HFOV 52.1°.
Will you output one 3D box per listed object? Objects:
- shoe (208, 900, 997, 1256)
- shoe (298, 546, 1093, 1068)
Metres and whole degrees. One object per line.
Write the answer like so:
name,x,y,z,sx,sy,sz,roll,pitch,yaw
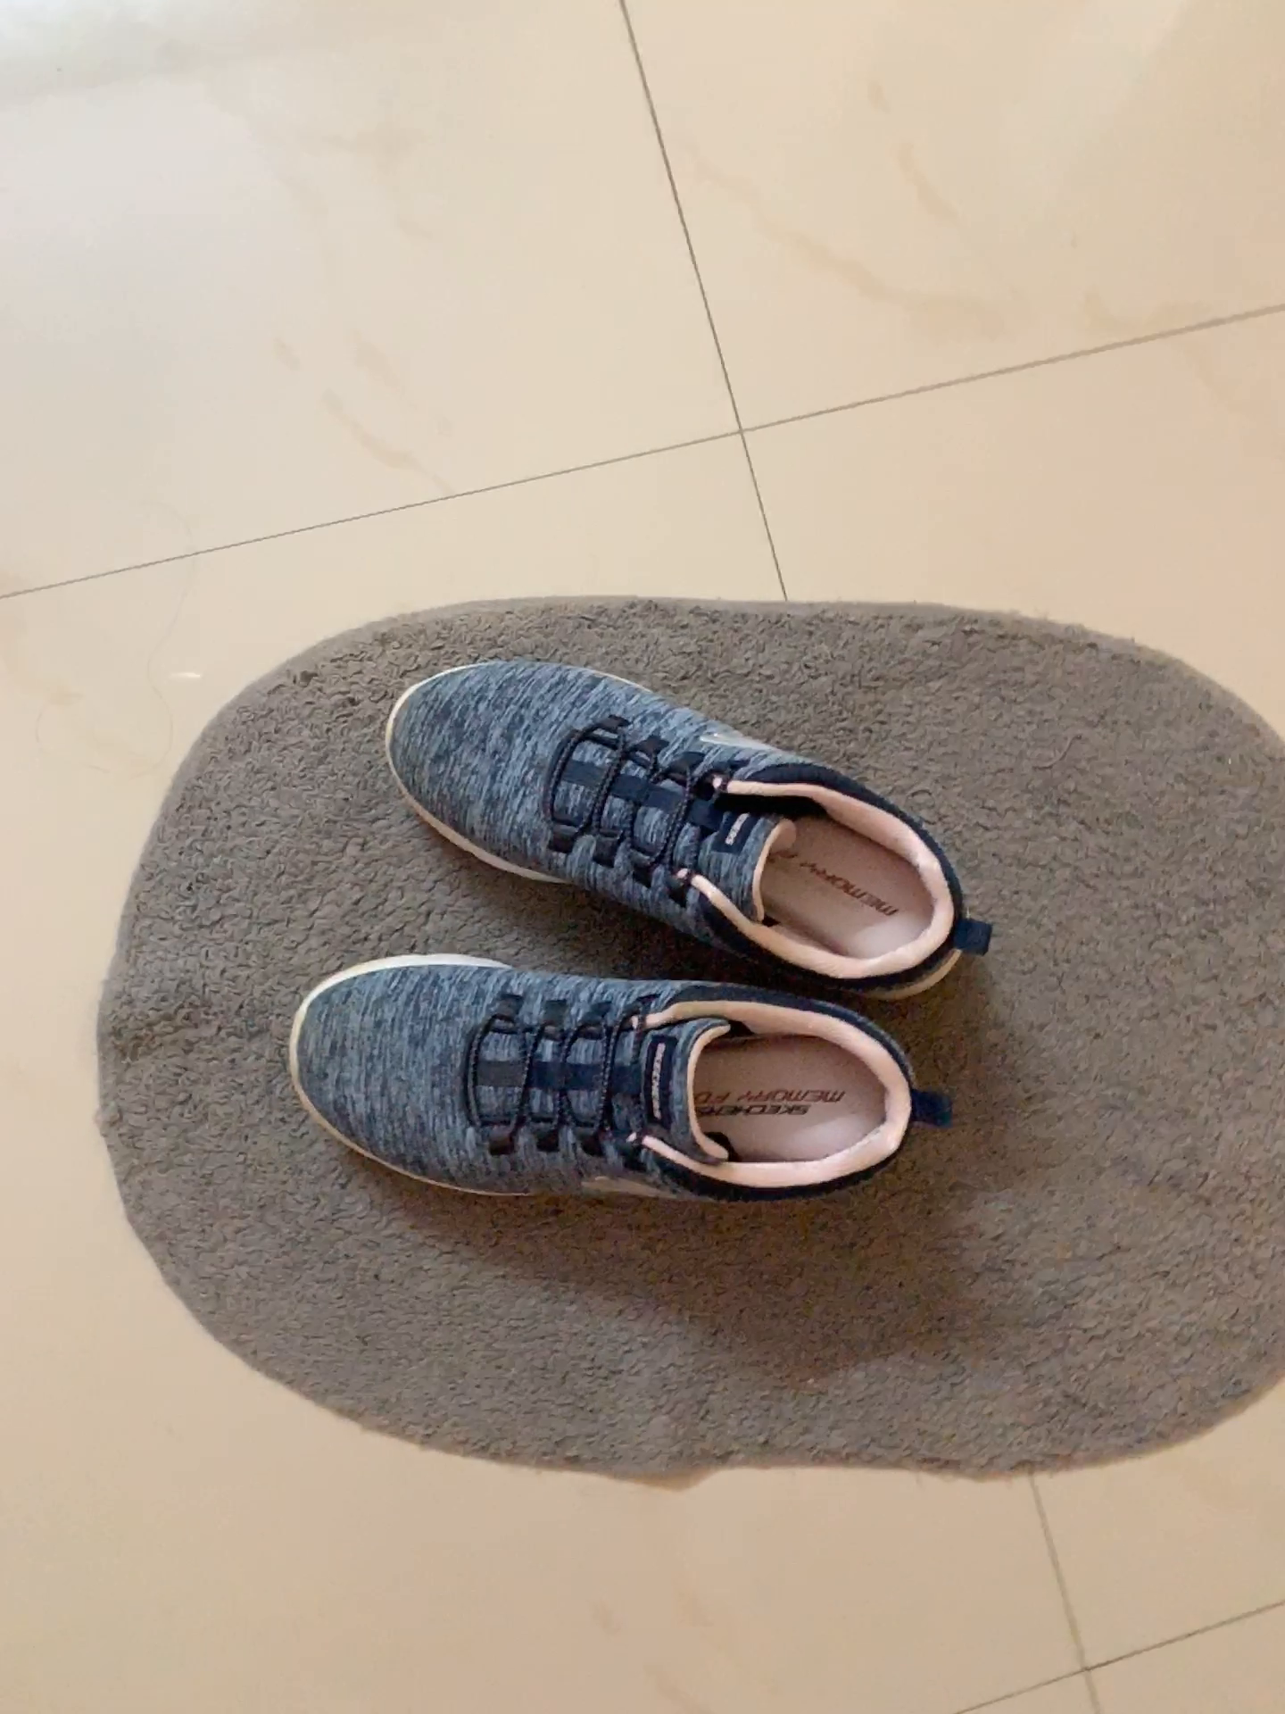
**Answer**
shoe,-0.014,0.092,0.549,0.290,0.100,0.100,7,81,-4
shoe,0.018,-0.014,0.517,0.270,0.100,0.090,22,84,-2
